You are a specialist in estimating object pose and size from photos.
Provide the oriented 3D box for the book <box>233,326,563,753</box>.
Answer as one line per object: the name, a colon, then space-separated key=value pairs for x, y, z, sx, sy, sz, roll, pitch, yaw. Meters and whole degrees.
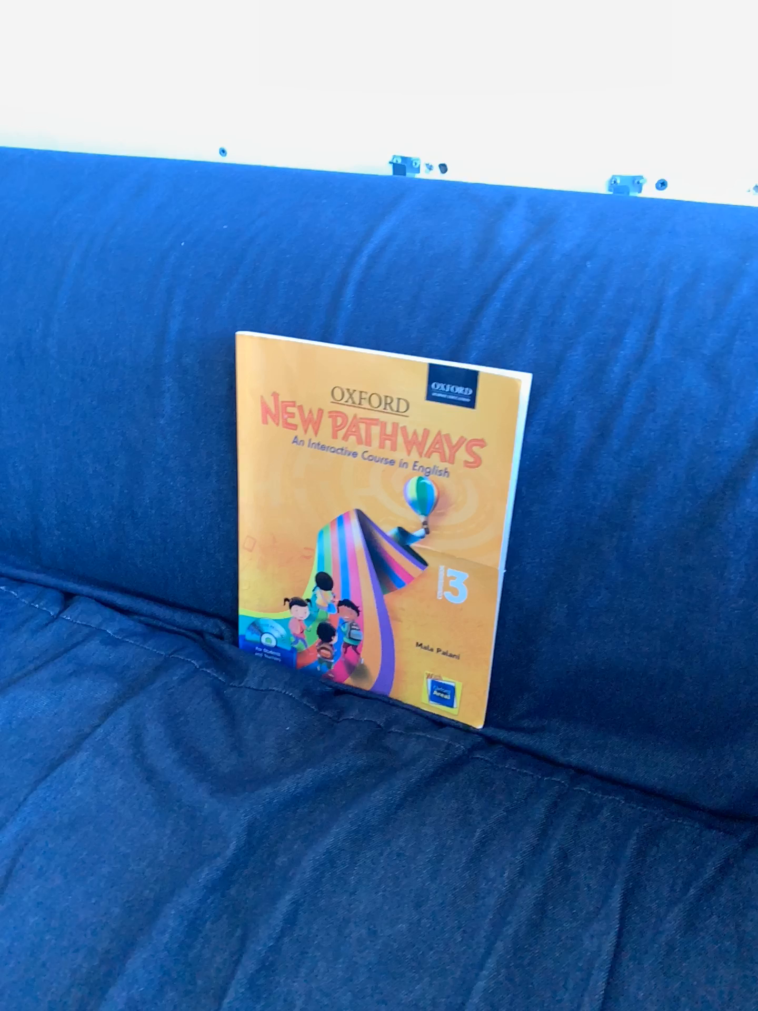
book: x=-0.003 y=0.026 z=0.581 sx=0.230 sy=0.283 sz=0.030 roll=13 pitch=24 yaw=20
